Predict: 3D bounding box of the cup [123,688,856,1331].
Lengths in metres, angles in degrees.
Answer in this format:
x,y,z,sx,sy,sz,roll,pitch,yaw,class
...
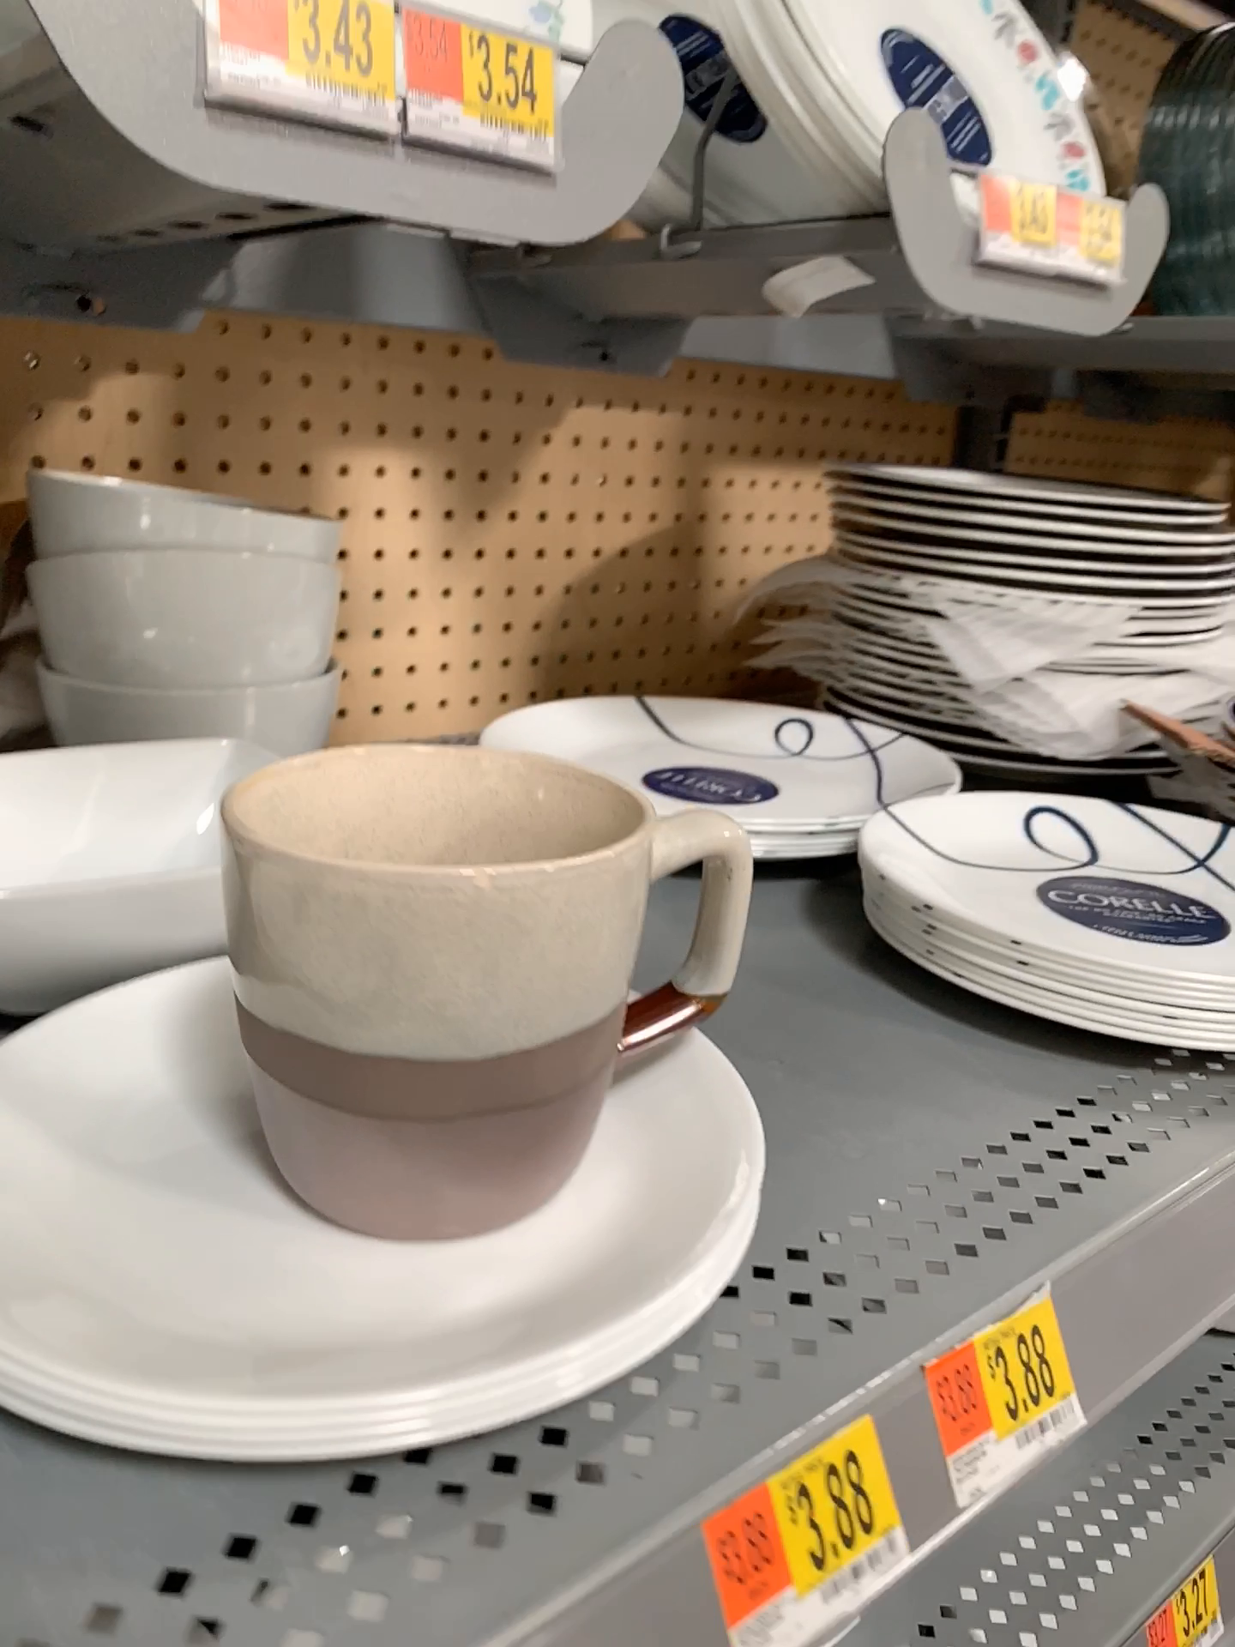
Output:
x,y,z,sx,sy,sz,roll,pitch,yaw,class
-0.034,0.030,0.317,0.138,0.096,0.107,-9,22,-36,cup
